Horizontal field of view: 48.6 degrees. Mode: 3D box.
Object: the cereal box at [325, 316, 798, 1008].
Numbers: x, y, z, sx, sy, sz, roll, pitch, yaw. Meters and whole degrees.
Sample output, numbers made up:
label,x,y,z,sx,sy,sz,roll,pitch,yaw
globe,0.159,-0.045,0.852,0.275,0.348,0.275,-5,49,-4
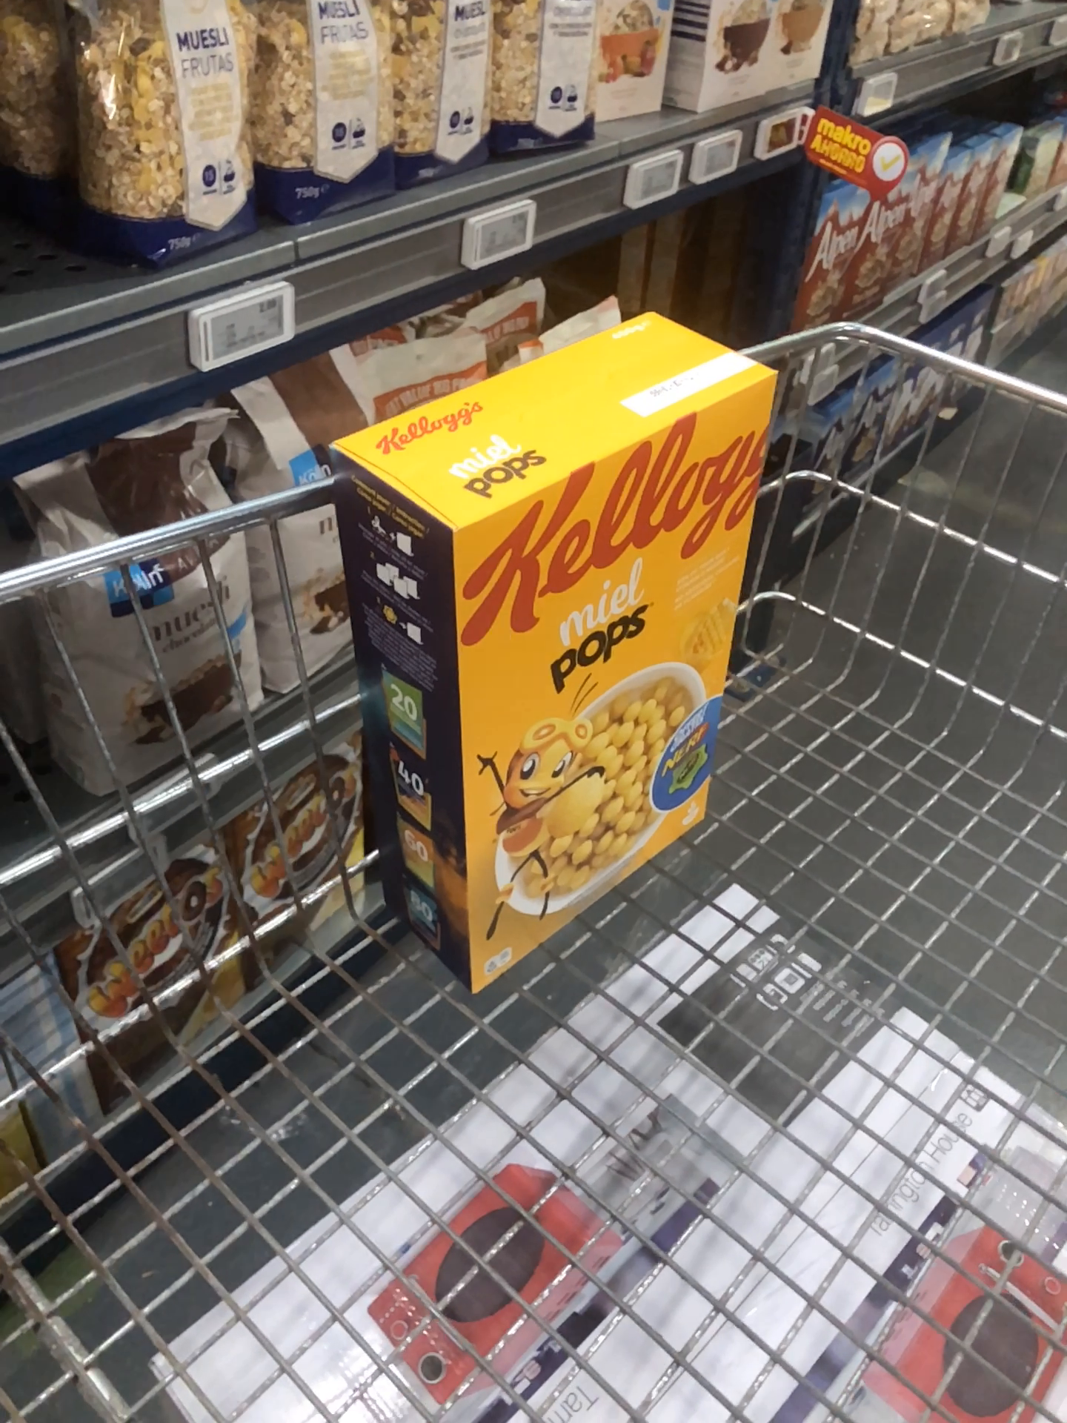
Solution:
label,x,y,z,sx,sy,sz,roll,pitch,yaw
cereal box,0.017,-0.022,0.593,0.090,0.279,0.201,32,48,32
